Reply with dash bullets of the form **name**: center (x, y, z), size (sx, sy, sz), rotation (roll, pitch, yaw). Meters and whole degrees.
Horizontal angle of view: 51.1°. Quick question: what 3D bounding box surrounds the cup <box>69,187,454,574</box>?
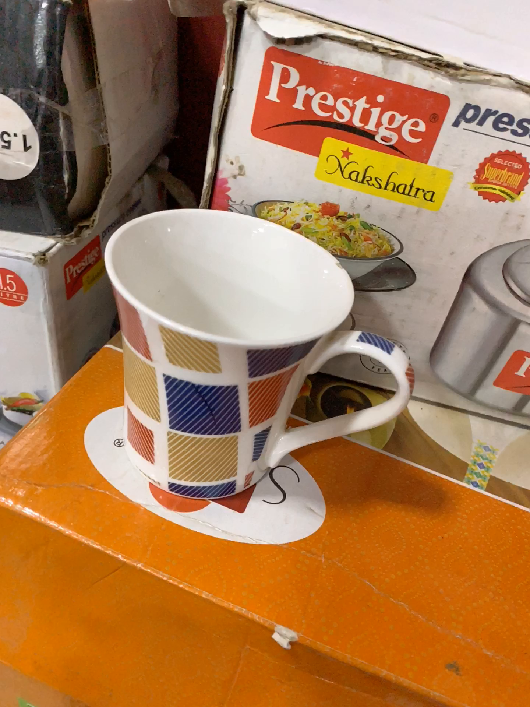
- **cup**: center (-0.004, 0.009, 0.194), size (0.100, 0.089, 0.071), rotation (15, 38, 0)
